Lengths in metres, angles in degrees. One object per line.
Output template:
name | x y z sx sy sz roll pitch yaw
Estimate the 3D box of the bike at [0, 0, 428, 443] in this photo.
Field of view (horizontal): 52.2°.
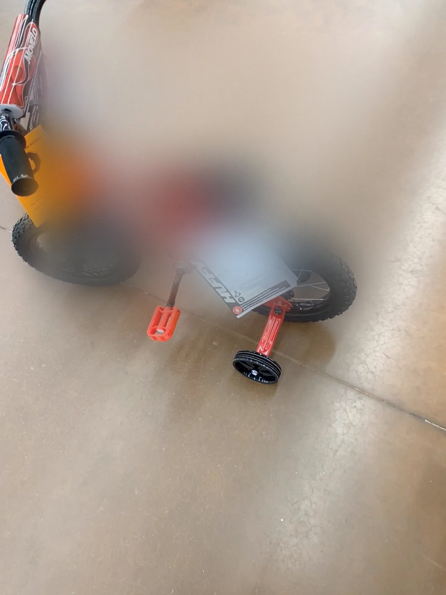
bike | -0.120 -0.138 0.732 0.704 0.627 0.458 9 59 7
